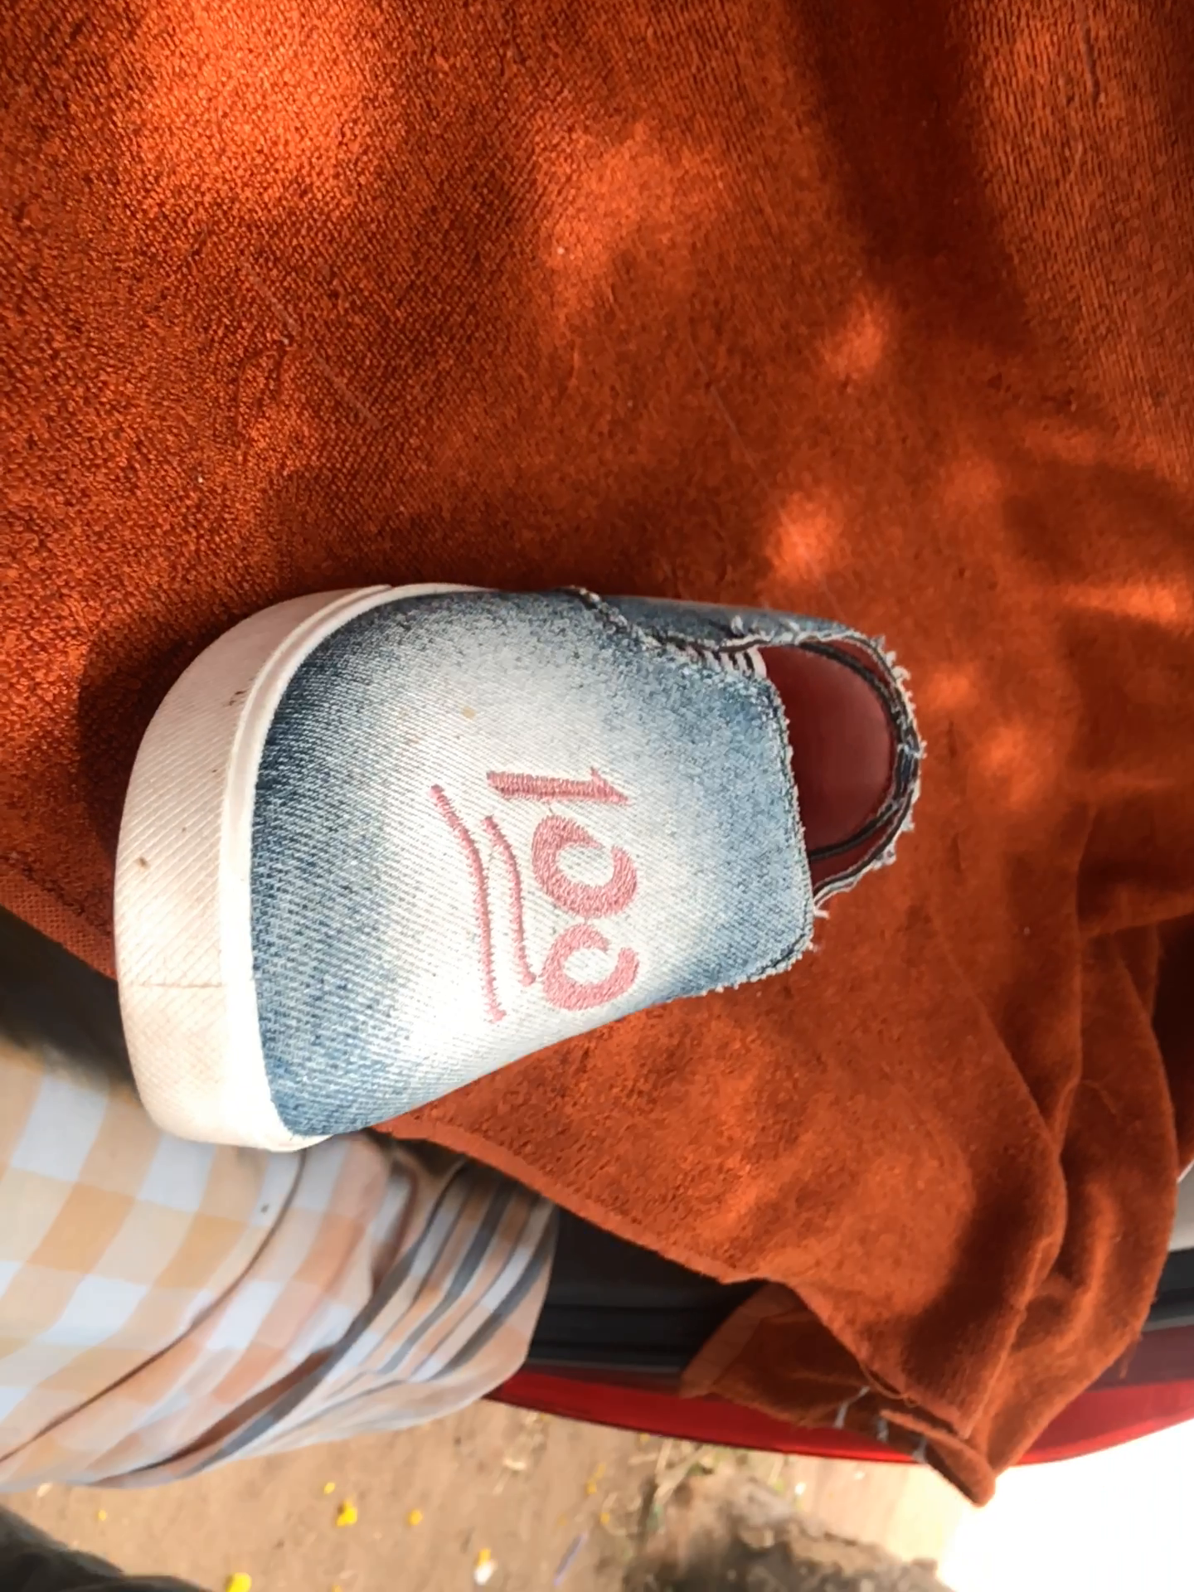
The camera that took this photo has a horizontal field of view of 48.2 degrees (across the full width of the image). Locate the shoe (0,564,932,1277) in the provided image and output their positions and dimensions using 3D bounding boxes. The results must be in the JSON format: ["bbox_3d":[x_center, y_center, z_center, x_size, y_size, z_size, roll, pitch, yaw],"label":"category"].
[{"bbox_3d":[-0.006,-0.001,0.301,0.242,0.079,0.090,-18,112,-55],"label":"shoe"}]
